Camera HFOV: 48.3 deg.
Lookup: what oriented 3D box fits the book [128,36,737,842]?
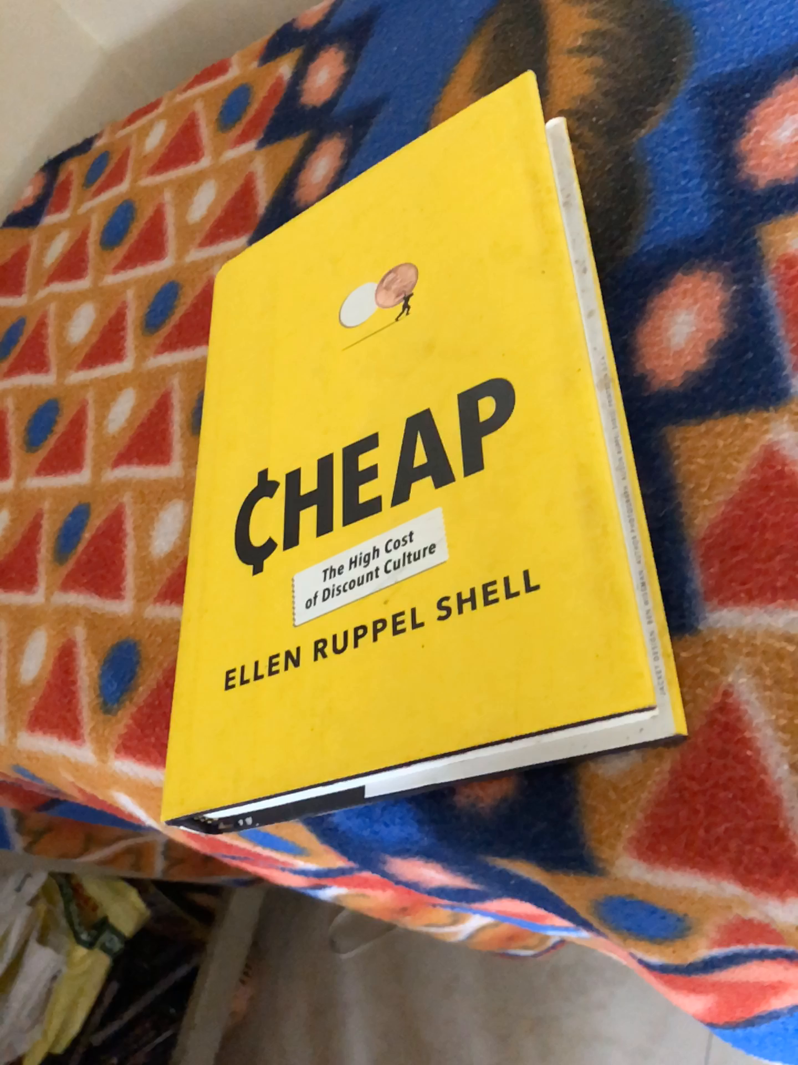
[{"bbox_3d":[-0.005,-0.037,0.296,0.170,0.030,0.240,-21,54,27],"label":"book"}]
